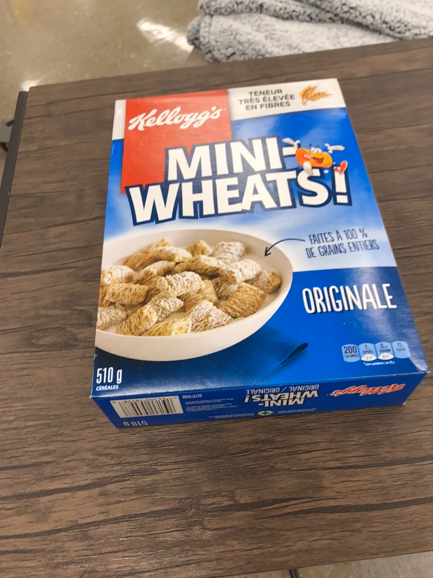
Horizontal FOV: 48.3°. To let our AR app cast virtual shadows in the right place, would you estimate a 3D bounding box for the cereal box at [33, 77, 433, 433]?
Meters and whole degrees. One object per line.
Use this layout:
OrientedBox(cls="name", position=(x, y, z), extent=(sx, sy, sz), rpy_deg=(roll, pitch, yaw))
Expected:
OrientedBox(cls="cereal box", position=(0.009, -0.044, 0.362), extent=(0.230, 0.060, 0.271), rpy_deg=(-5, 55, 2))
